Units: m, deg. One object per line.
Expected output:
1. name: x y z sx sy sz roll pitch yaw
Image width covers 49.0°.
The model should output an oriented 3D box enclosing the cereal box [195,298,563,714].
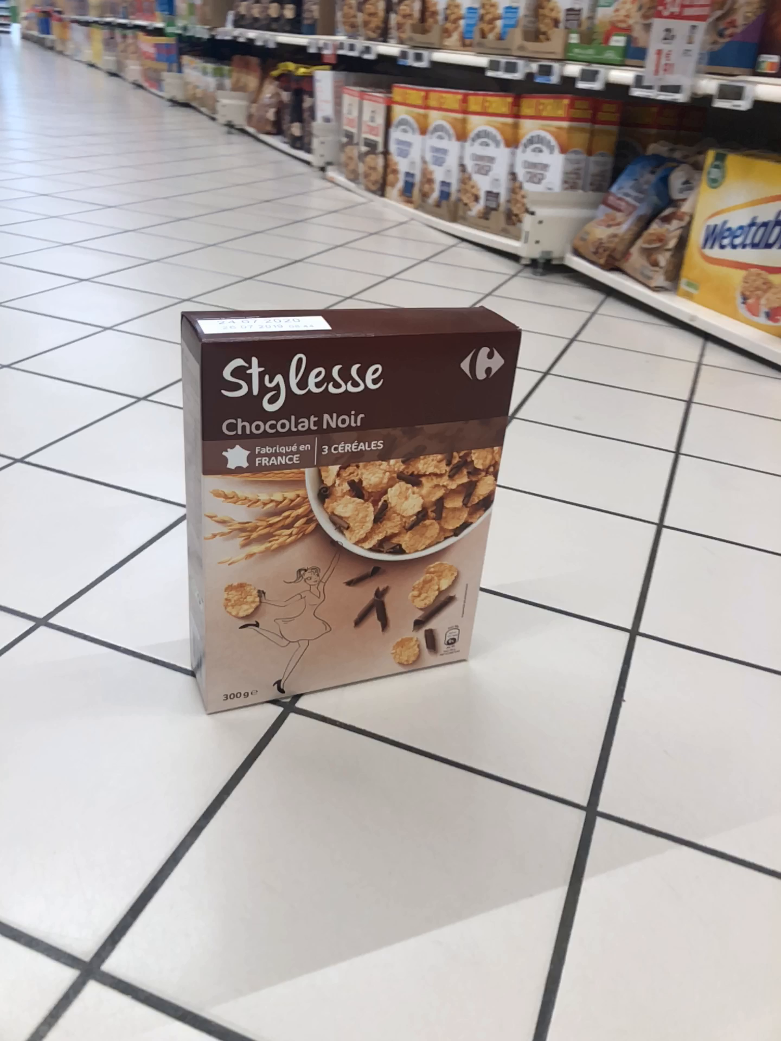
1. cereal box: -0.015 -0.012 0.547 0.201 0.239 0.070 -7 30 -23
